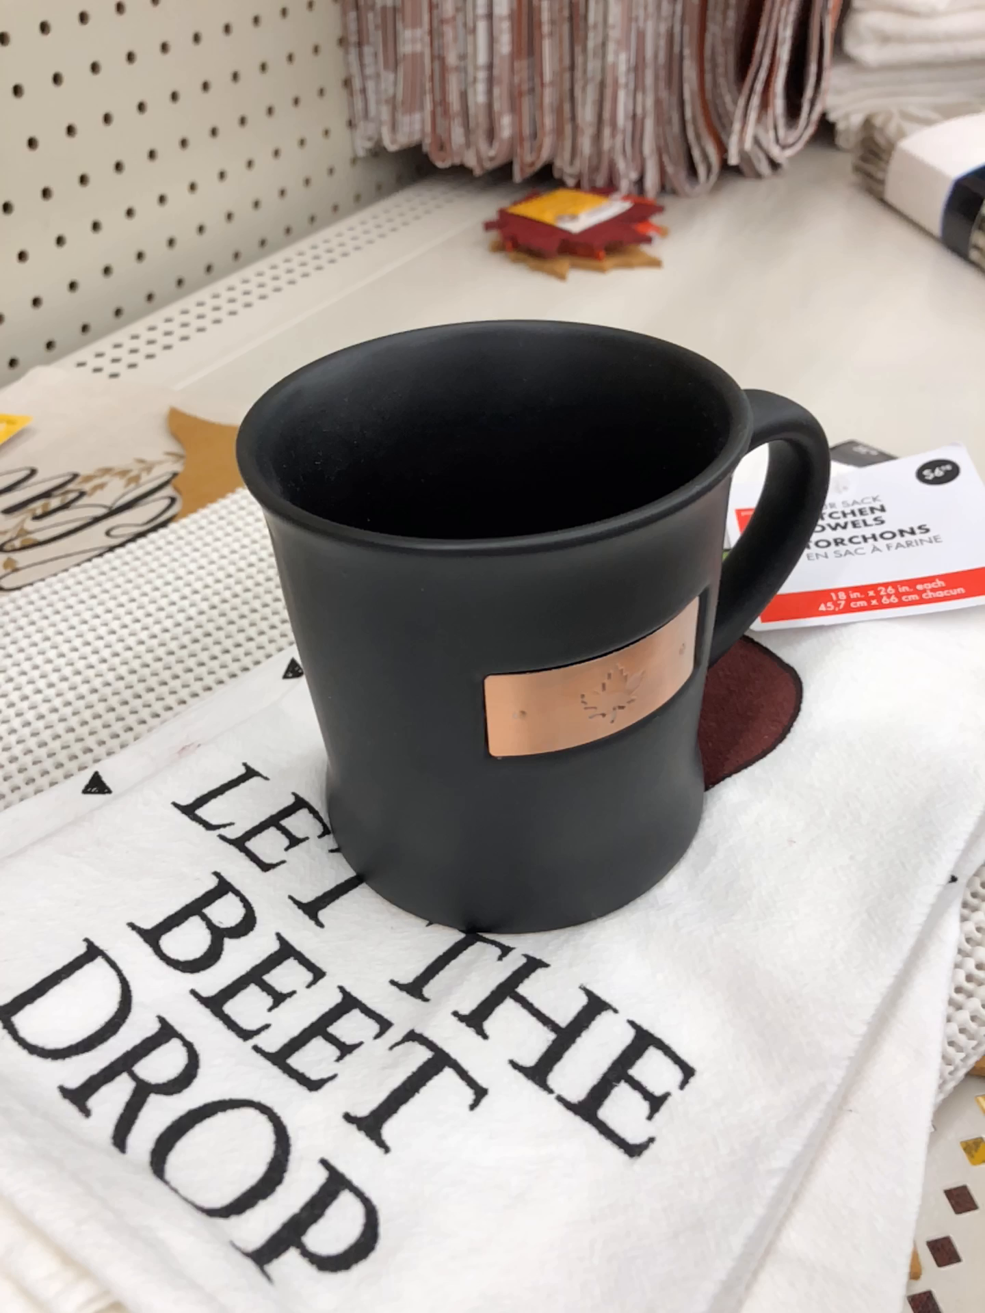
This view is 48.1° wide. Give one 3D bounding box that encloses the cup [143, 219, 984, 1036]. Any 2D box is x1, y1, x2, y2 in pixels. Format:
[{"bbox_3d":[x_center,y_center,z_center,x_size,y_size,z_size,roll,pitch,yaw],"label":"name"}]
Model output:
[{"bbox_3d":[0.017,-0.016,0.255,0.140,0.110,0.100,-26,45,-25],"label":"cup"}]
